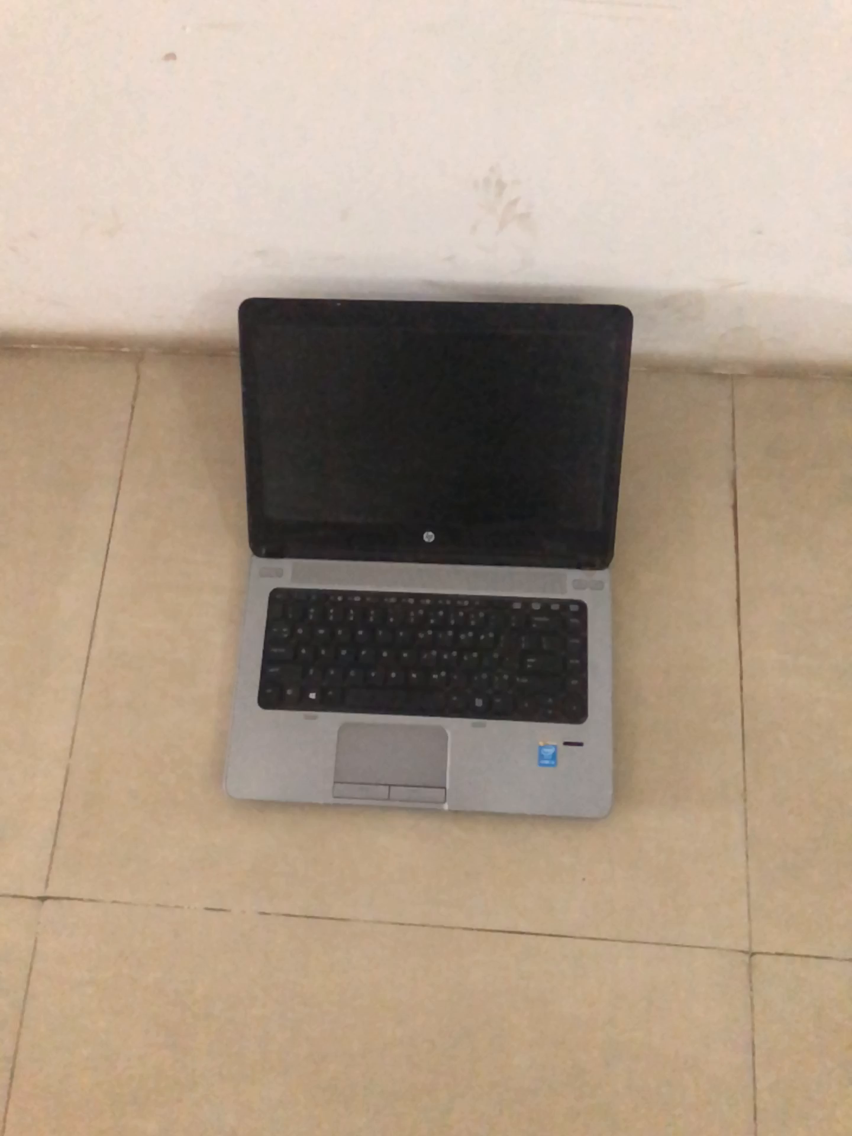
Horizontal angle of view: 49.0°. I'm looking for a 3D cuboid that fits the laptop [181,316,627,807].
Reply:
[{"bbox_3d":[-0.002,-0.007,0.801,0.318,0.146,0.386,3,70,3],"label":"laptop"}]
